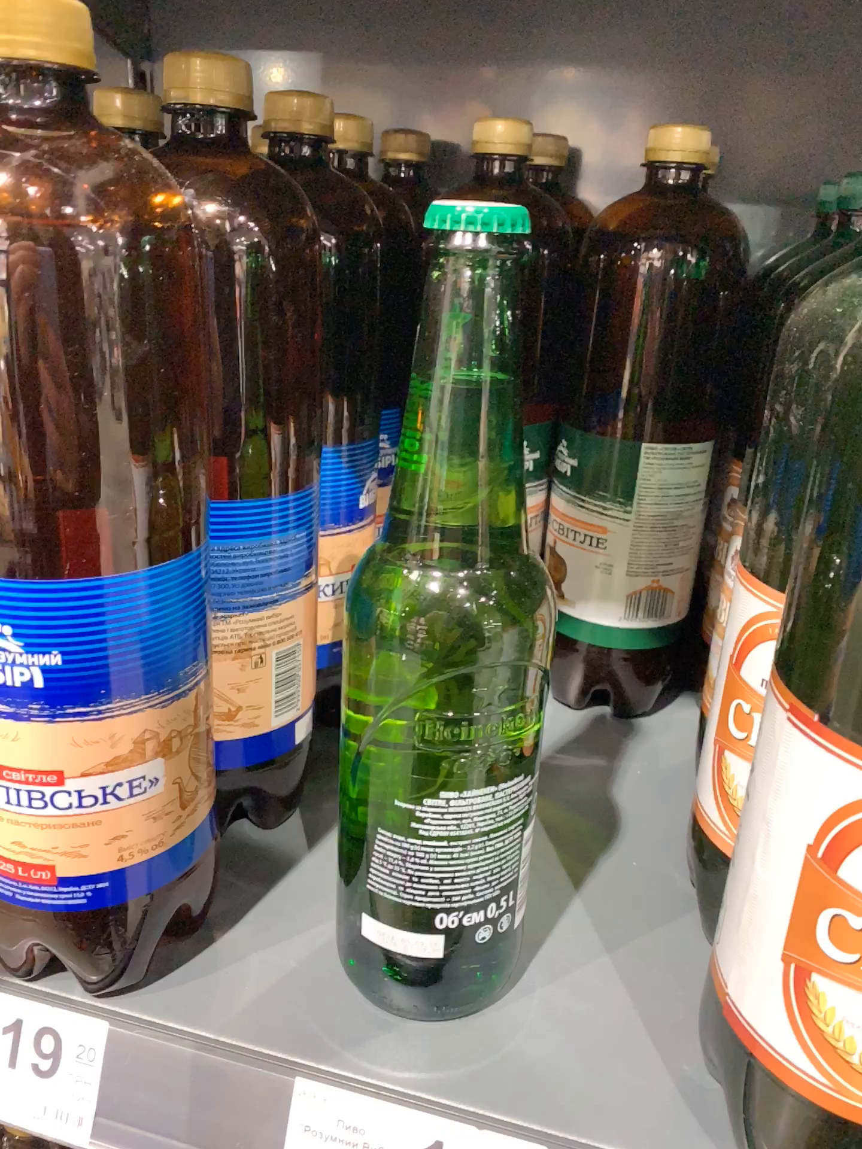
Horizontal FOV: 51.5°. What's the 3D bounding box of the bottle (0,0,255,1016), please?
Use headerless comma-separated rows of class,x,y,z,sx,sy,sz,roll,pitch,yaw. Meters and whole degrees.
bottle,-0.106,-0.015,0.266,0.080,0.288,0.074,3,21,-1

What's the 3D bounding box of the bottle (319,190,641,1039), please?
bottle,0.004,0.018,0.276,0.066,0.248,0.062,3,21,-1
